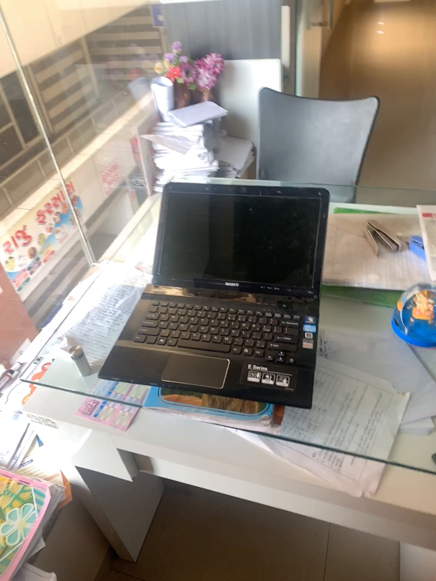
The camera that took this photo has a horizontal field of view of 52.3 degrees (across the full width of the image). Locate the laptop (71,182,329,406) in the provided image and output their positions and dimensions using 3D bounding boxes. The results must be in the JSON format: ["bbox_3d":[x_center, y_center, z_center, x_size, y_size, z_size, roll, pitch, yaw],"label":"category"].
[{"bbox_3d":[0.006,-0.025,0.654,0.285,0.111,0.338,5,42,13],"label":"laptop"}]
